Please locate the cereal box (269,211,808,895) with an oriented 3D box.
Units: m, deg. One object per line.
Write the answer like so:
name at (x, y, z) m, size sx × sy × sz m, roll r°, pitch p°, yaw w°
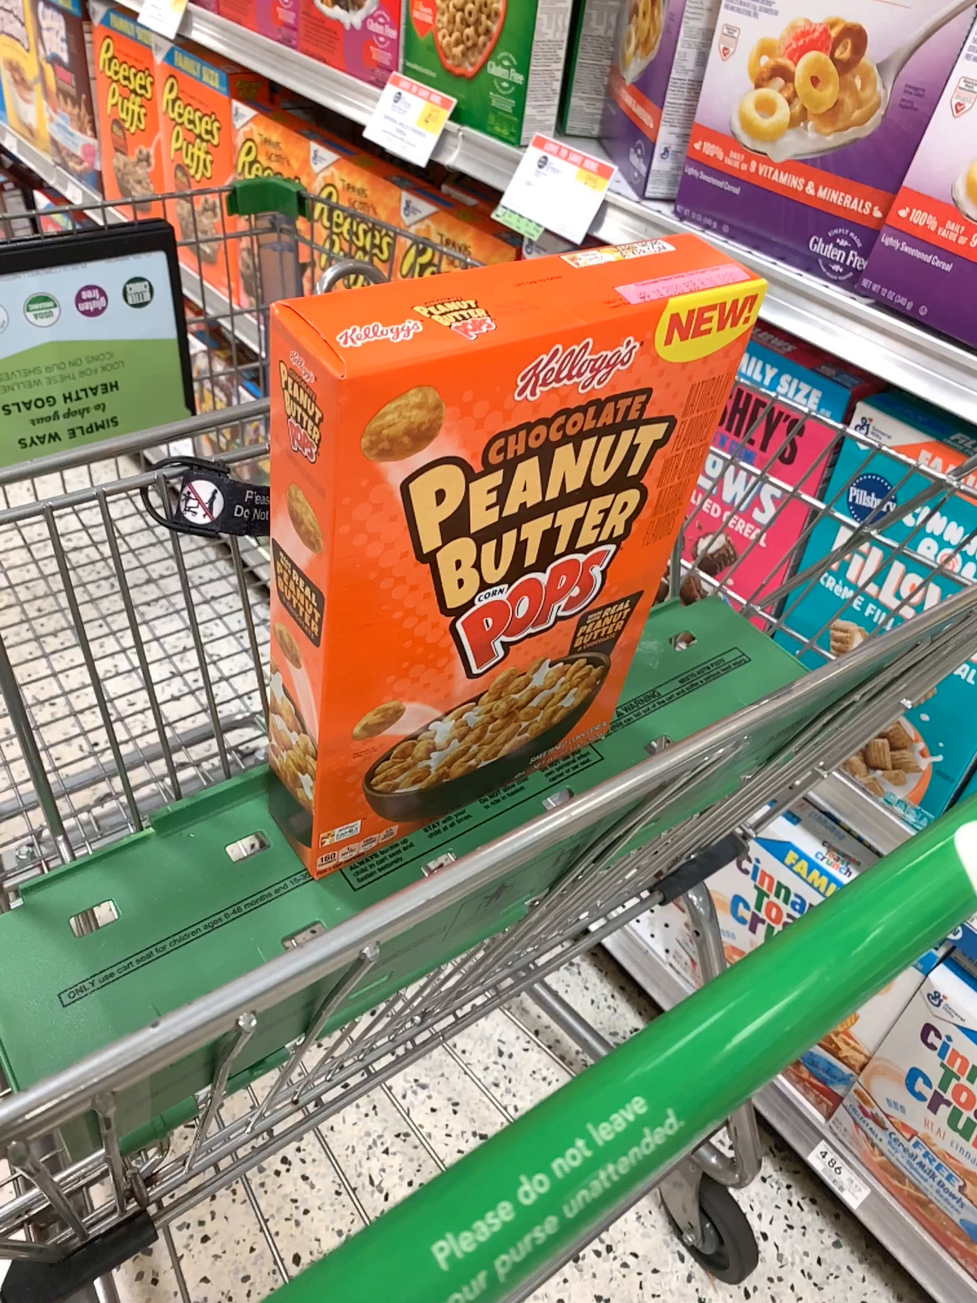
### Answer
cereal box at (0.005, -0.031, 0.449) m, size 0.201 × 0.287 × 0.050 m, roll -22°, pitch 55°, yaw -30°
